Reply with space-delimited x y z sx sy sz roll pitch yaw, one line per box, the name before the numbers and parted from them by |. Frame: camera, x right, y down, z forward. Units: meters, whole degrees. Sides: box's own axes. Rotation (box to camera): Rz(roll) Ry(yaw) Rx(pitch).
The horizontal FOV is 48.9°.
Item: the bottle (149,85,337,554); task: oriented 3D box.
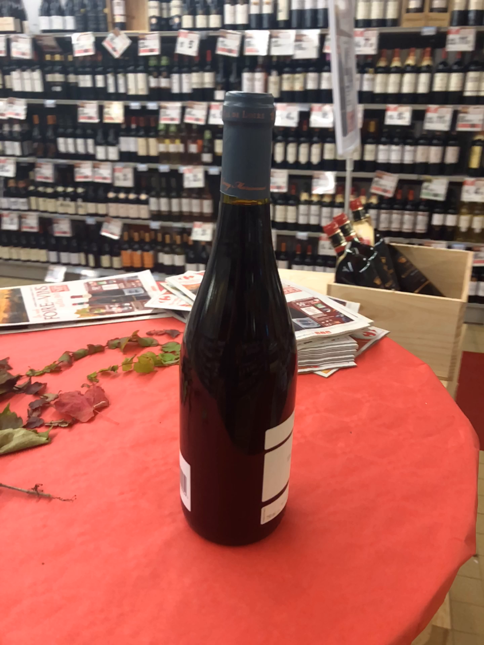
bottle | -0.004 0.003 0.350 0.090 0.288 0.090 0 22 0
